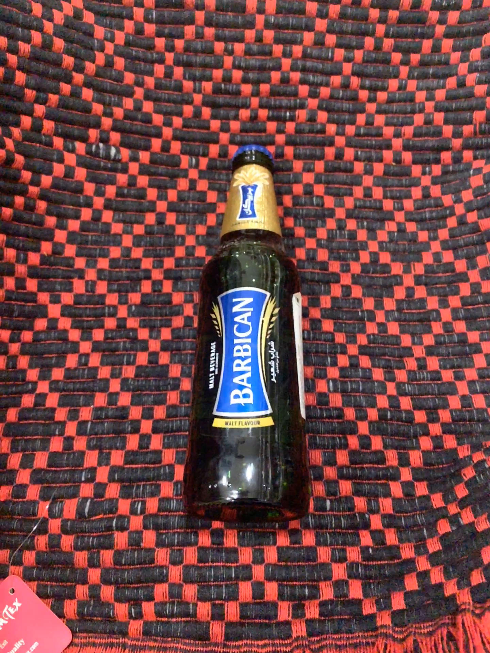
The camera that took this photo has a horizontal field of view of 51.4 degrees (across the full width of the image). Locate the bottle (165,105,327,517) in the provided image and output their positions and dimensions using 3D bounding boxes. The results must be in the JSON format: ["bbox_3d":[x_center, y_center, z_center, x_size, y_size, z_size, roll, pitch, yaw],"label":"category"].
[{"bbox_3d":[0.000,-0.017,0.265,0.060,0.060,0.210,2,61,-2],"label":"bottle"}]
